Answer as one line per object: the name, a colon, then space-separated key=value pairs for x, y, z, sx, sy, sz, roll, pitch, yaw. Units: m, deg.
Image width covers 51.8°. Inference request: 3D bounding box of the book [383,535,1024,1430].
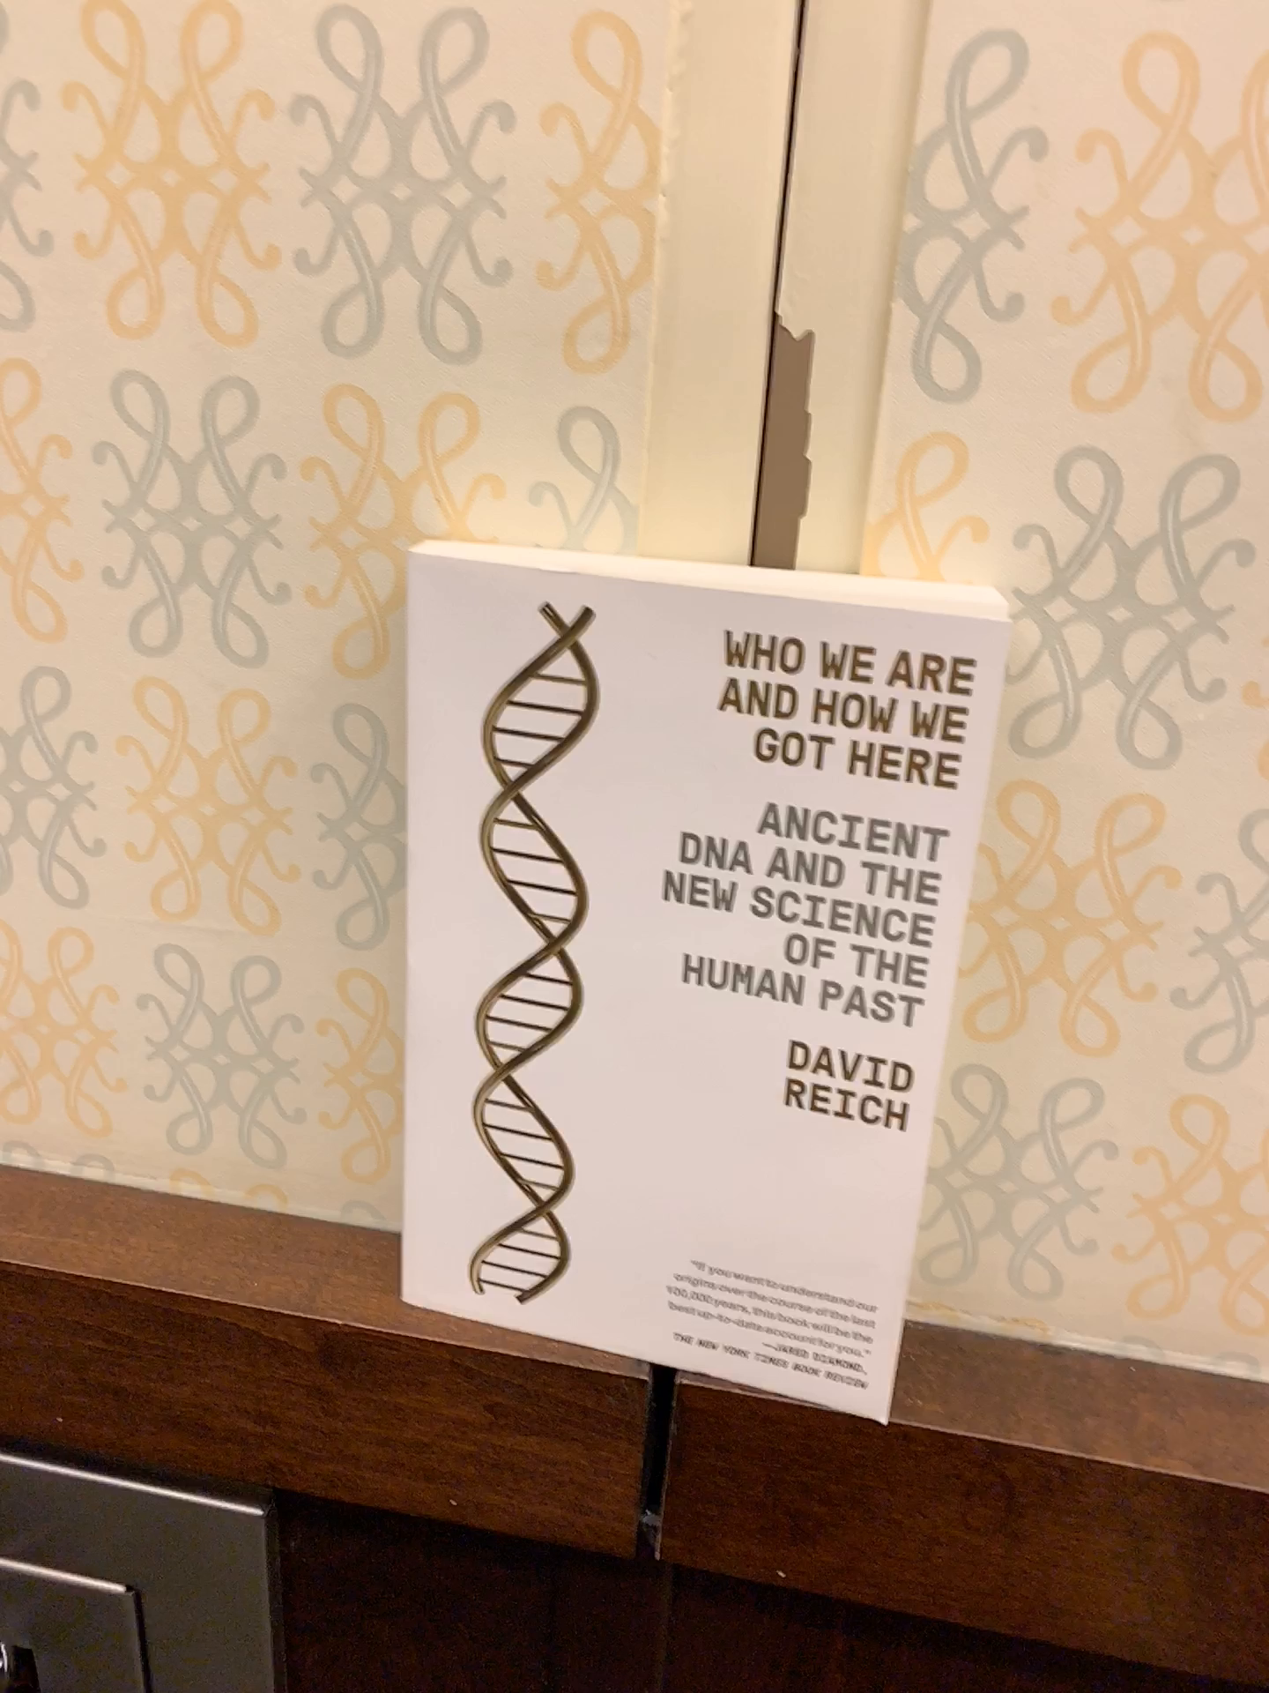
book: x=0.008 y=0.035 z=0.311 sx=0.127 sy=0.199 sz=0.041 roll=6 pitch=20 yaw=6
